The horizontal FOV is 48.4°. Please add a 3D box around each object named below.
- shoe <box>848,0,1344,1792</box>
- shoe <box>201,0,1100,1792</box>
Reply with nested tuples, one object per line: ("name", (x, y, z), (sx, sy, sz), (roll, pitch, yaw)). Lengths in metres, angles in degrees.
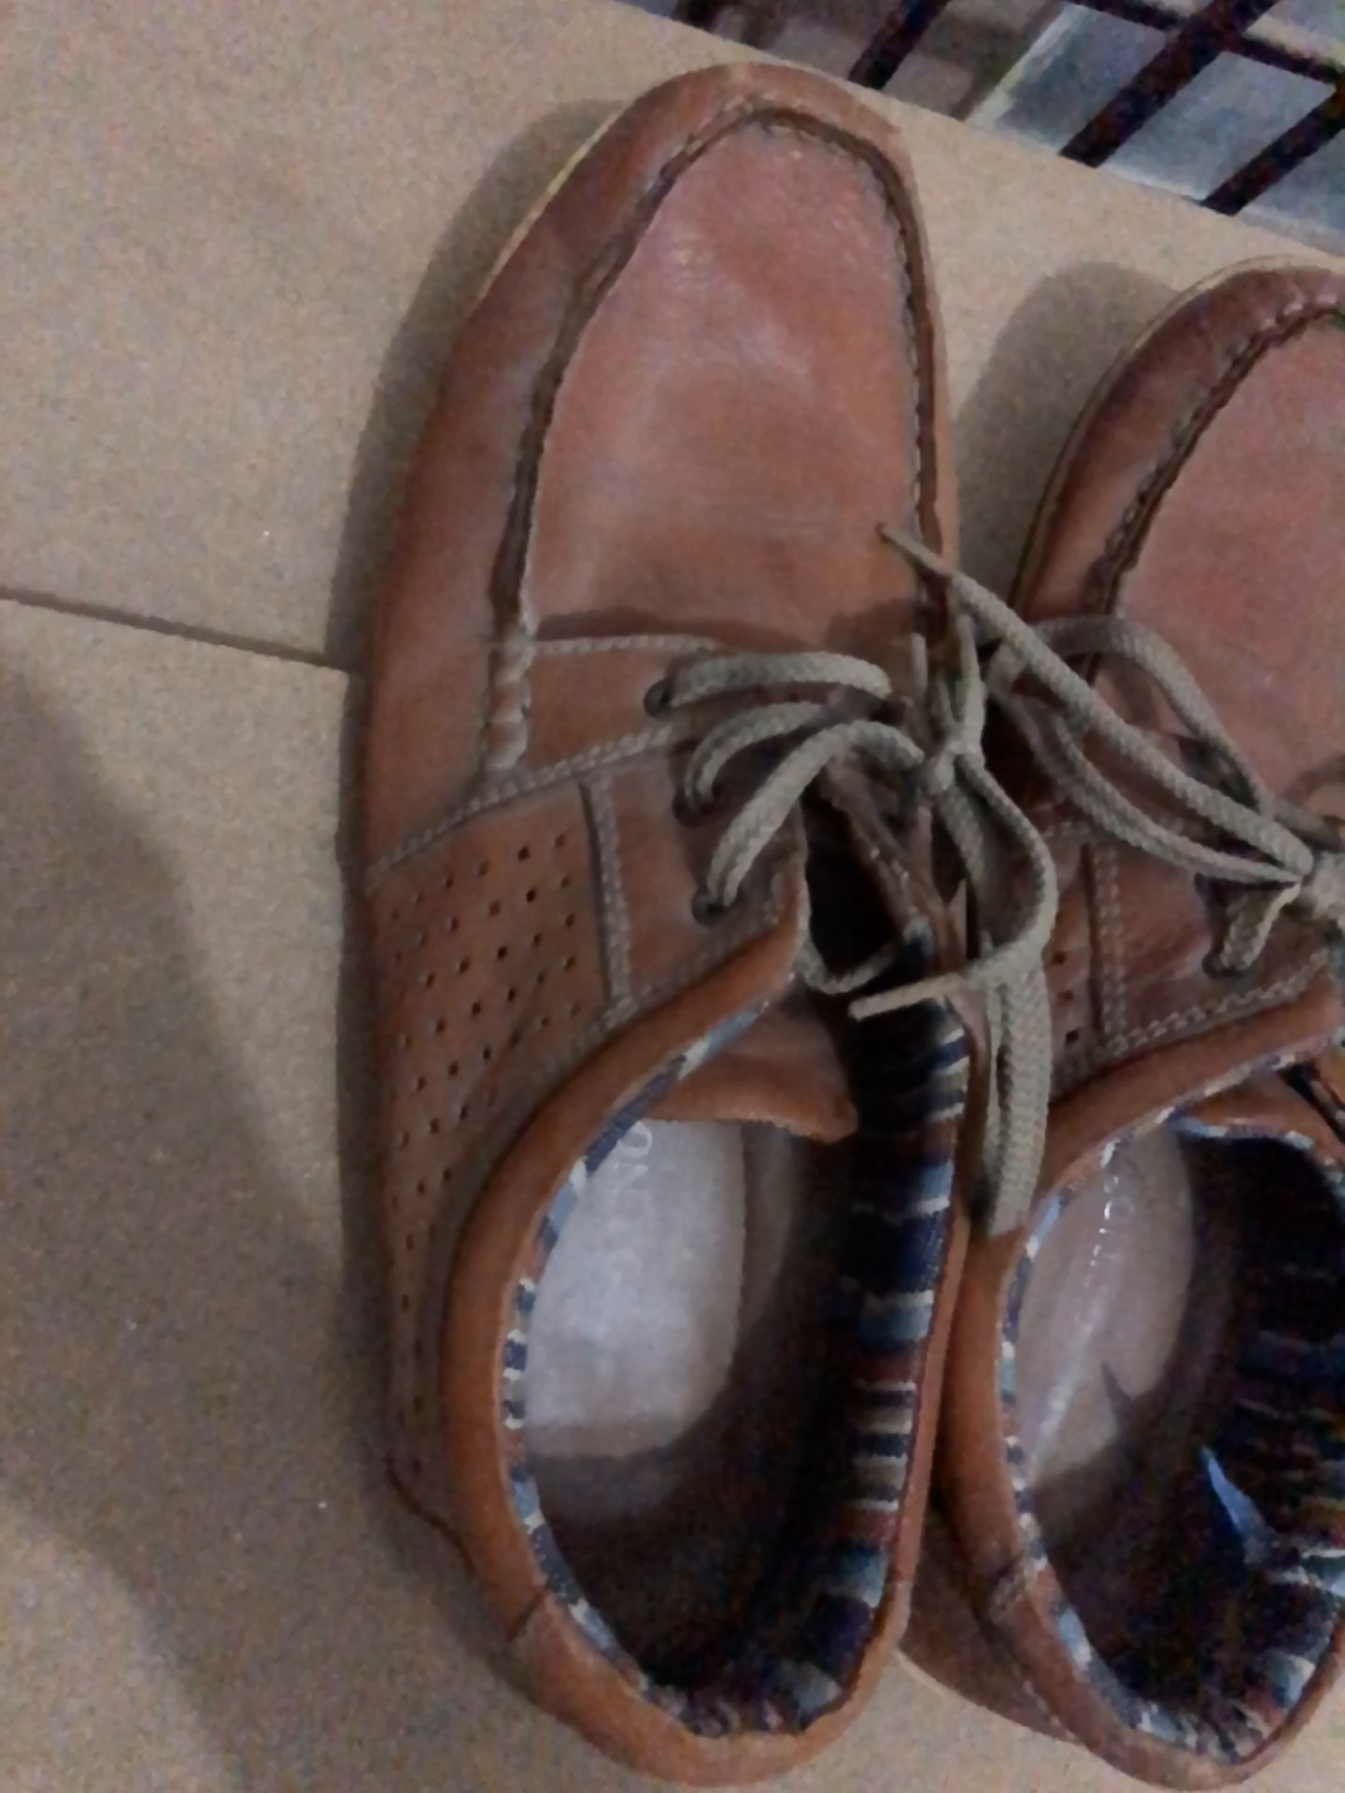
("shoe", (0.113, 0.000, 0.267), (0.100, 0.100, 0.280), (11, 78, -8))
("shoe", (-0.001, -0.022, 0.246), (0.100, 0.100, 0.287), (6, 80, -9))
